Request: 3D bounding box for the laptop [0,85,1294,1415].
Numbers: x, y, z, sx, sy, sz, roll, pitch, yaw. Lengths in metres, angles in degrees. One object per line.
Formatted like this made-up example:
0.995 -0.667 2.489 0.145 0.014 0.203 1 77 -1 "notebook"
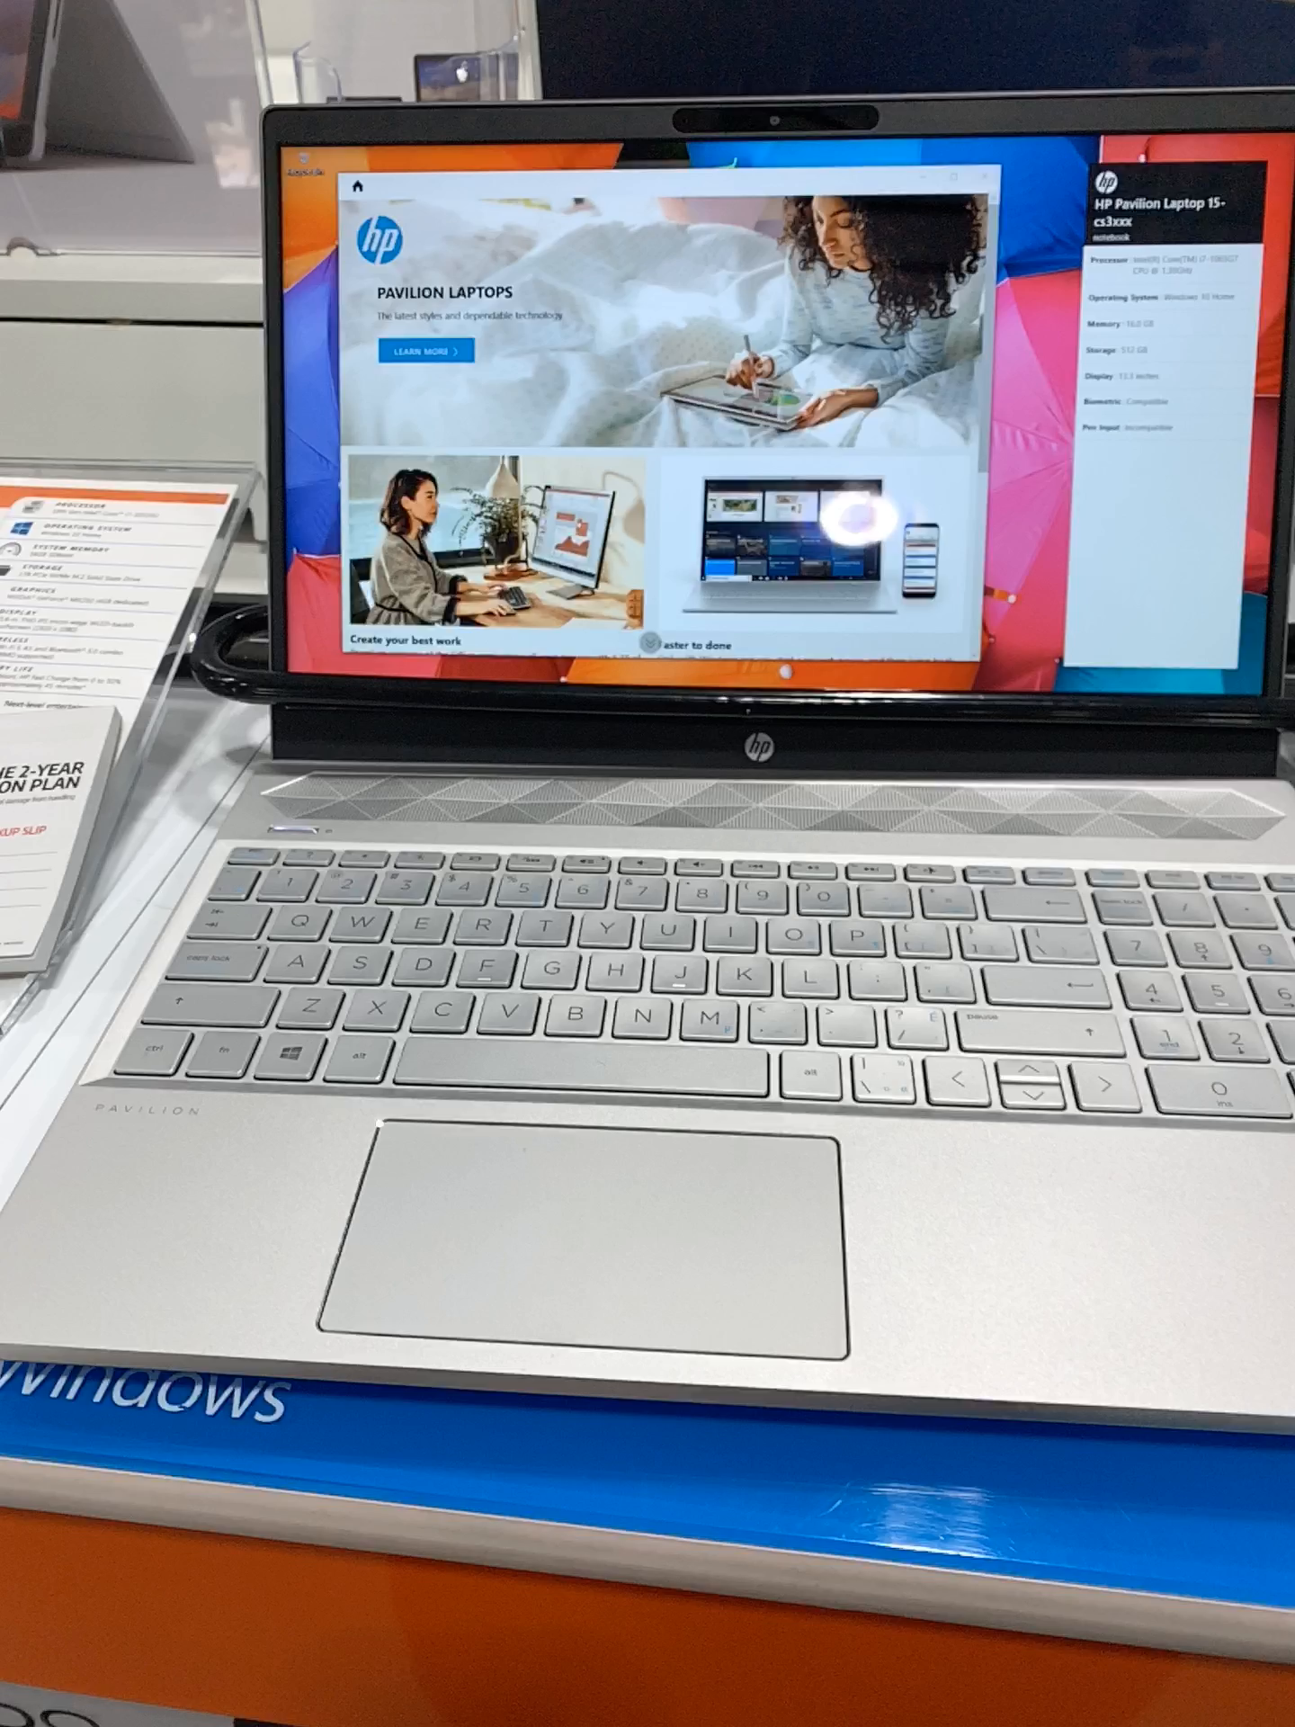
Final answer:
0.032 -0.071 0.342 0.332 0.175 0.335 1 37 4 "laptop"
